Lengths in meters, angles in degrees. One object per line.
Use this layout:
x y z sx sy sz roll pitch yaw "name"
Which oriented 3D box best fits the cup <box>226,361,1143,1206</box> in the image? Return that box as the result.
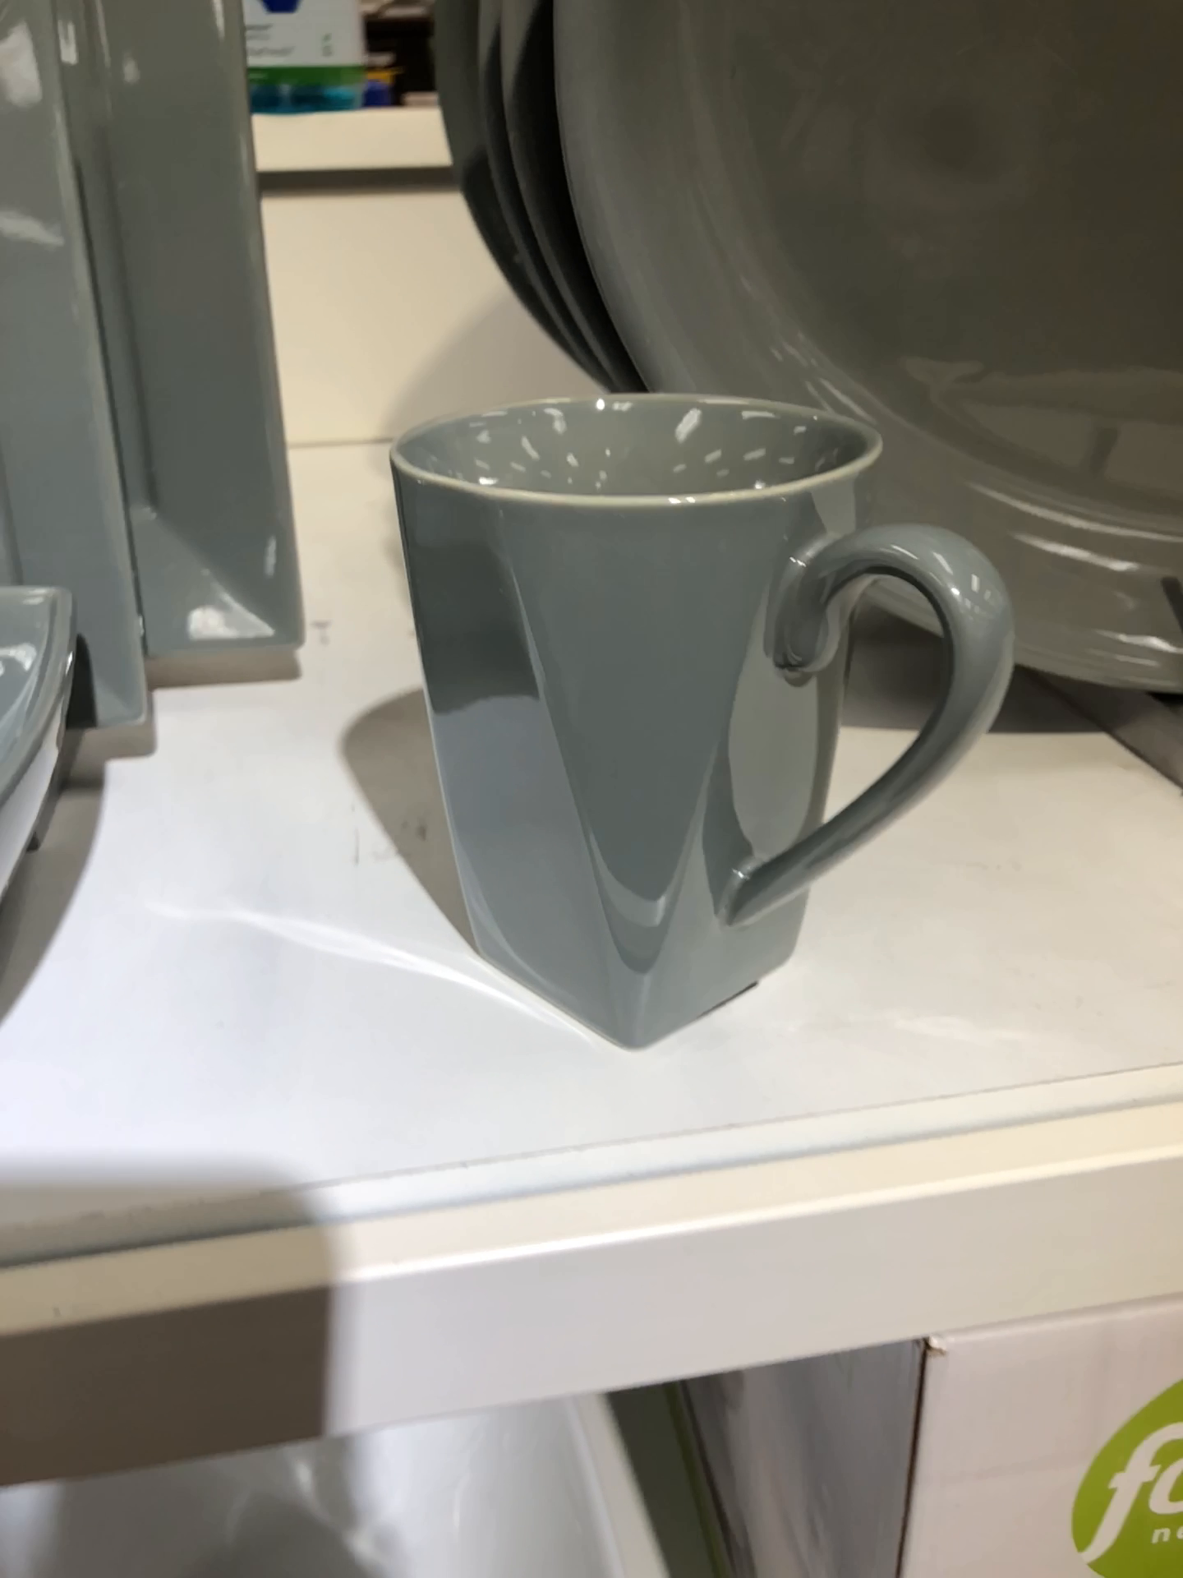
0.014 -0.016 0.246 0.100 0.097 0.118 -25 36 -38 "cup"
